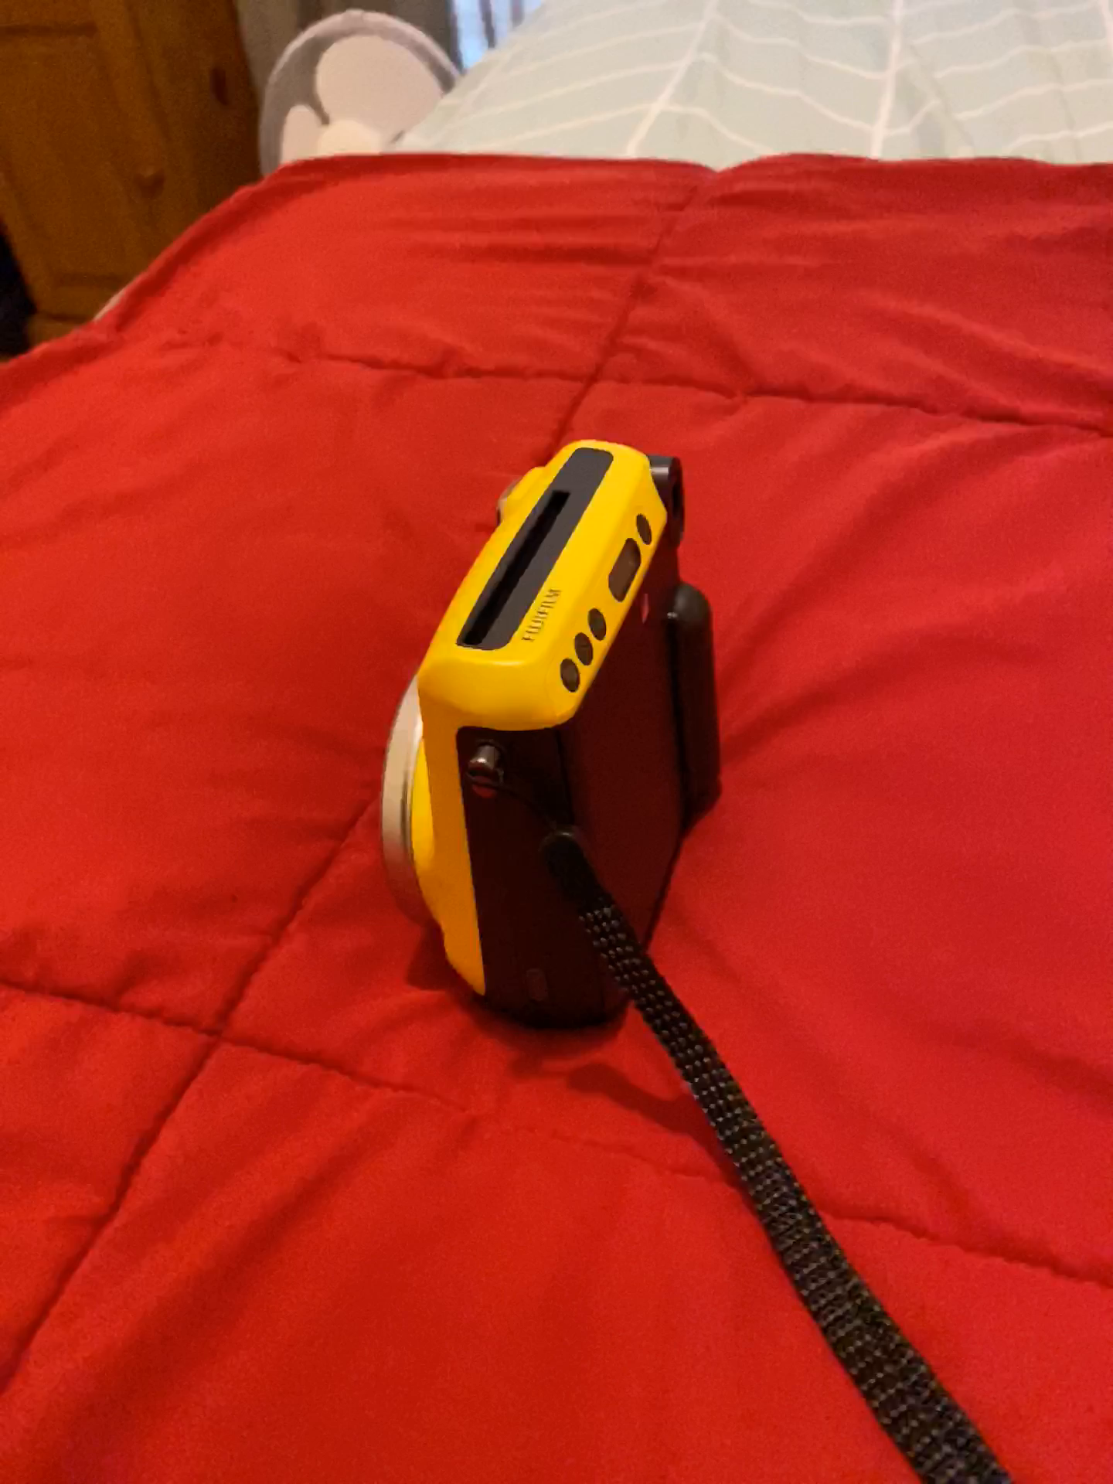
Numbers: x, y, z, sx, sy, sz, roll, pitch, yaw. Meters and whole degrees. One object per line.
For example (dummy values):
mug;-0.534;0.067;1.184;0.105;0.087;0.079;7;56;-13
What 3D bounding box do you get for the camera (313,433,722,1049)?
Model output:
camera;0.001;-0.002;0.275;0.057;0.103;0.096;9;44;17
